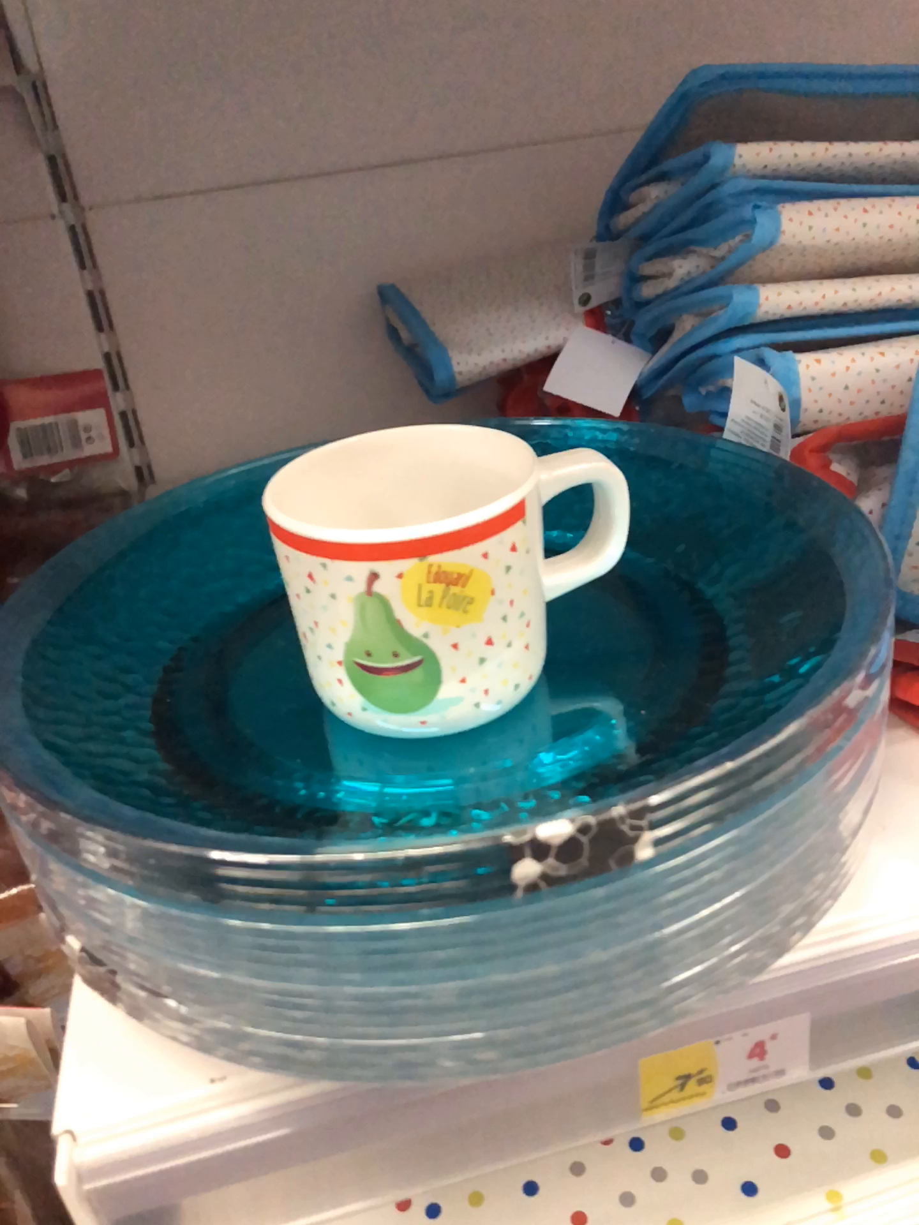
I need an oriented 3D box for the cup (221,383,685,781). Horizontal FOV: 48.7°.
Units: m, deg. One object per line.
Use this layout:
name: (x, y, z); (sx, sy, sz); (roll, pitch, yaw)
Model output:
cup: (-0.003, -0.014, 0.280); (0.102, 0.059, 0.077); (-15, 32, -14)
